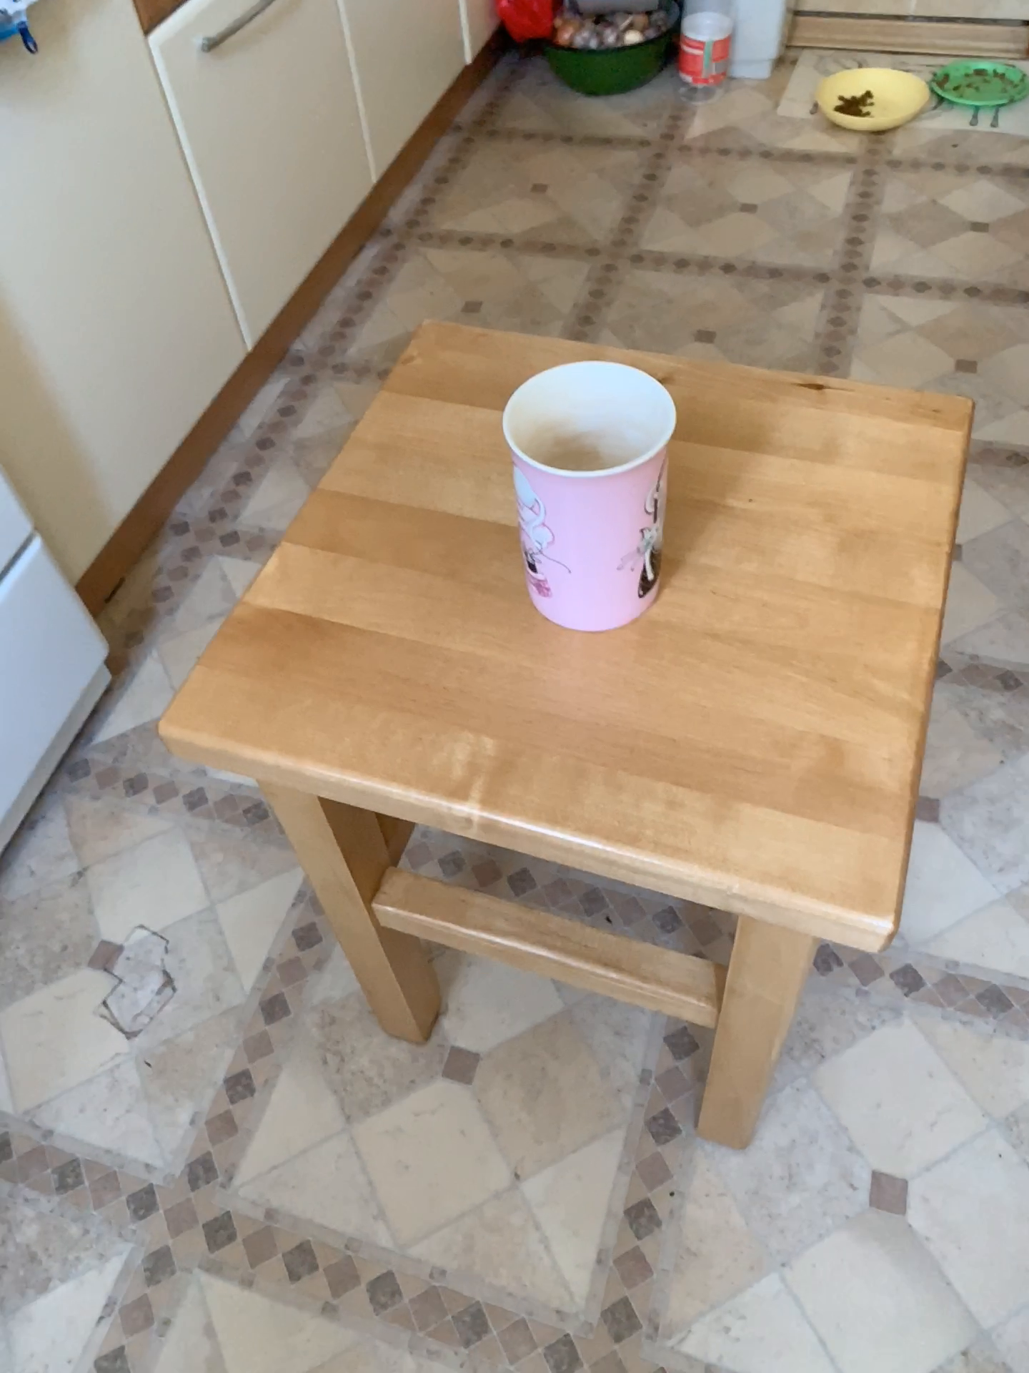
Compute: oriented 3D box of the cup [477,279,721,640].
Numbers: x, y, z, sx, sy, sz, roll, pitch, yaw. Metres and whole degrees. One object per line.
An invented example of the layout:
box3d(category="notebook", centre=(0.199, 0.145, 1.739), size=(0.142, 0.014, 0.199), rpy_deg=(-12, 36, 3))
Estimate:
box3d(category="cup", centre=(0.036, -0.106, 0.491), size=(0.080, 0.099, 0.121), rpy_deg=(-10, 52, -2))
